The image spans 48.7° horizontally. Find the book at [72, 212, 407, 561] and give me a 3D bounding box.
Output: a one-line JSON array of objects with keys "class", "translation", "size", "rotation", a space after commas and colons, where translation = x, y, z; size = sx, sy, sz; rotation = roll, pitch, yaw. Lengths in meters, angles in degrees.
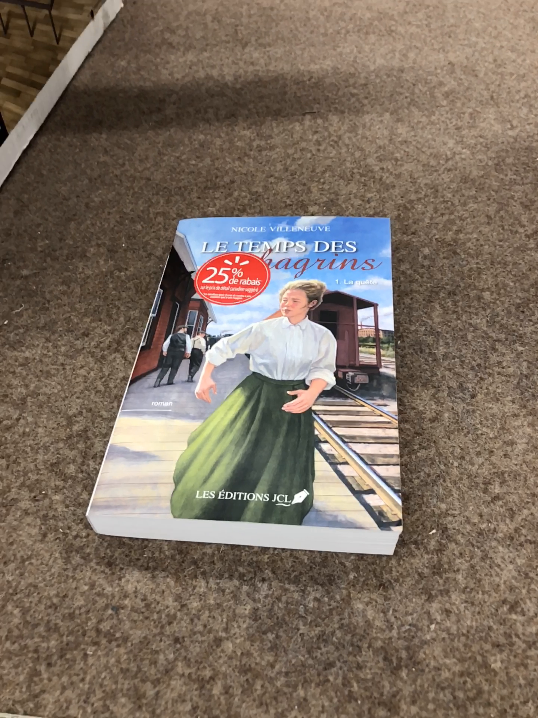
[{"class": "book", "translation": [-0.003, -0.003, 0.351], "size": [0.155, 0.030, 0.225], "rotation": [1, 51, 8]}]
